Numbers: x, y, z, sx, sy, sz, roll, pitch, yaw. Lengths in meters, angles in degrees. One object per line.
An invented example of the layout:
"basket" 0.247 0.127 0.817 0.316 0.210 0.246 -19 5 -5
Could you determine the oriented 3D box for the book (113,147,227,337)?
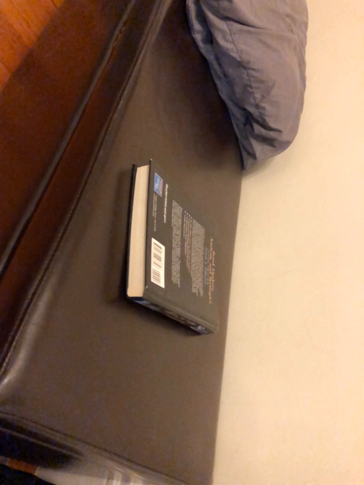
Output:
"book" 0.001 0.018 0.589 0.261 0.040 0.200 38 49 -55
